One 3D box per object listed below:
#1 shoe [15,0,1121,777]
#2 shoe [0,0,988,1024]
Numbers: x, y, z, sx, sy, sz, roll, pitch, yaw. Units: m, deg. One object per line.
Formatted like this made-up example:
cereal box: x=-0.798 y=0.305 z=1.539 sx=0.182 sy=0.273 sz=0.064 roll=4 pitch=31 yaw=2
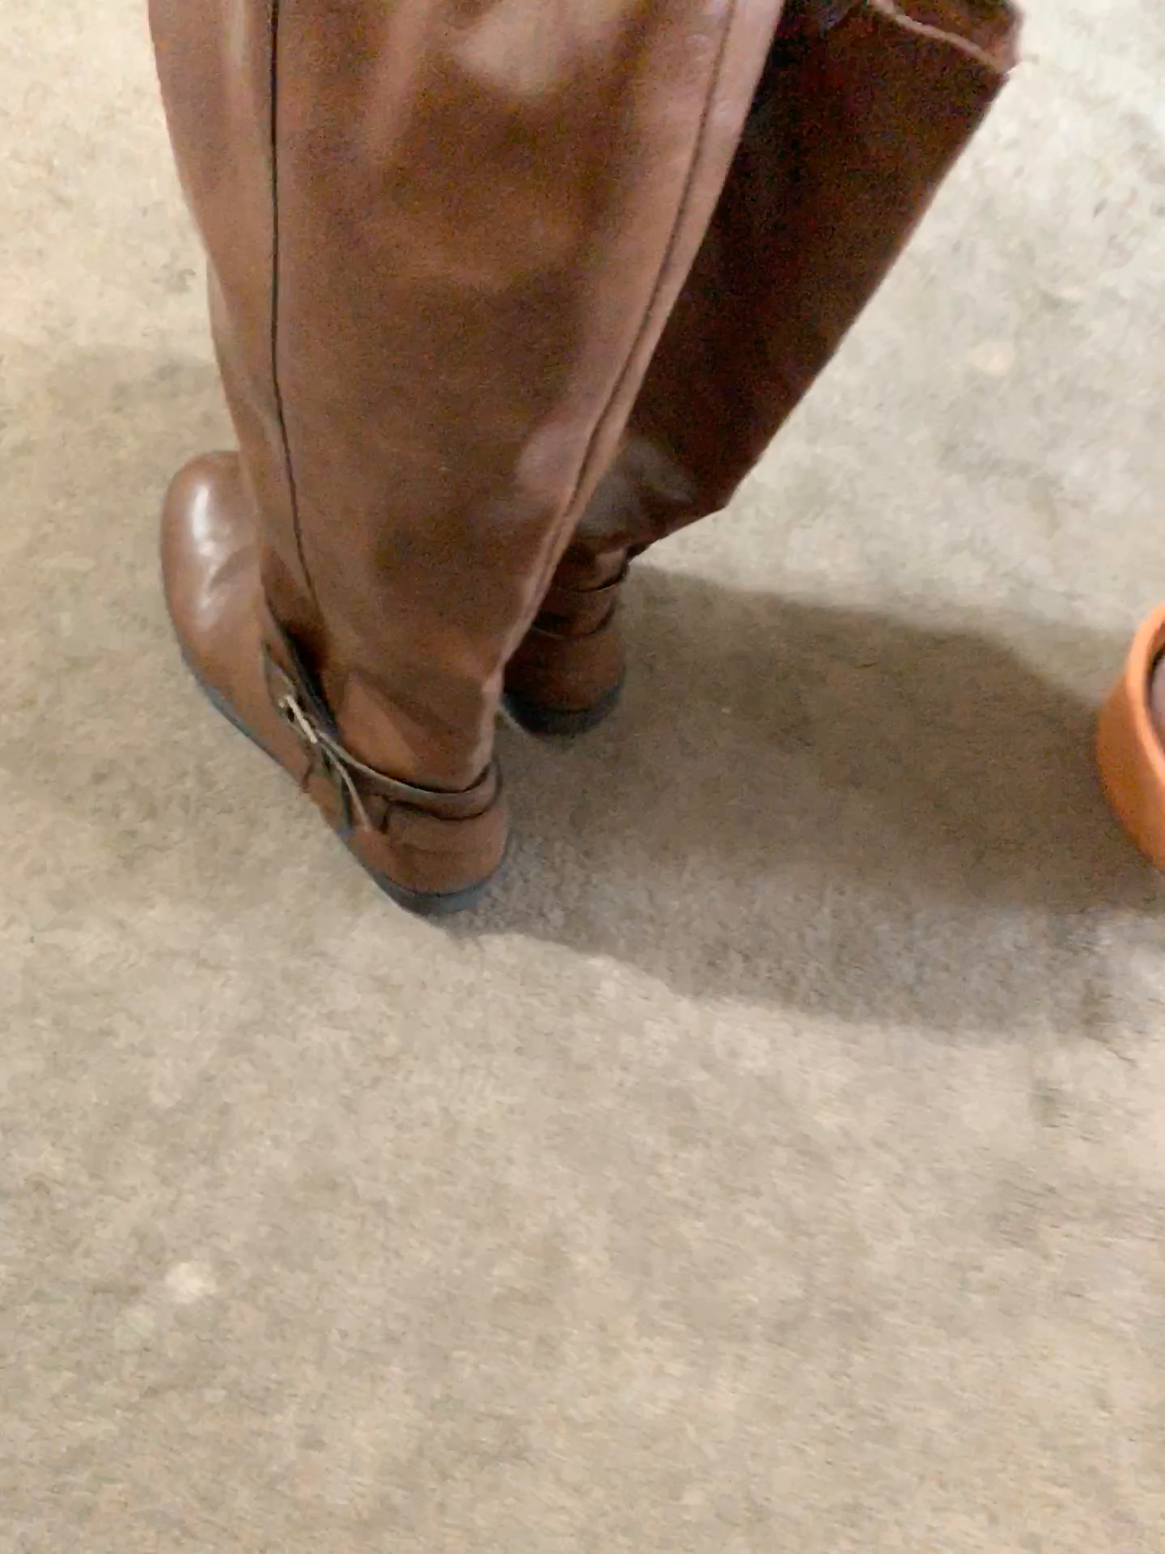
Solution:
shoe: x=-0.036 y=-0.209 z=0.428 sx=0.110 sy=0.368 sz=0.261 roll=-32 pitch=71 yaw=-23
shoe: x=-0.081 y=-0.122 z=0.396 sx=0.120 sy=0.397 sz=0.271 roll=-25 pitch=68 yaw=-20
